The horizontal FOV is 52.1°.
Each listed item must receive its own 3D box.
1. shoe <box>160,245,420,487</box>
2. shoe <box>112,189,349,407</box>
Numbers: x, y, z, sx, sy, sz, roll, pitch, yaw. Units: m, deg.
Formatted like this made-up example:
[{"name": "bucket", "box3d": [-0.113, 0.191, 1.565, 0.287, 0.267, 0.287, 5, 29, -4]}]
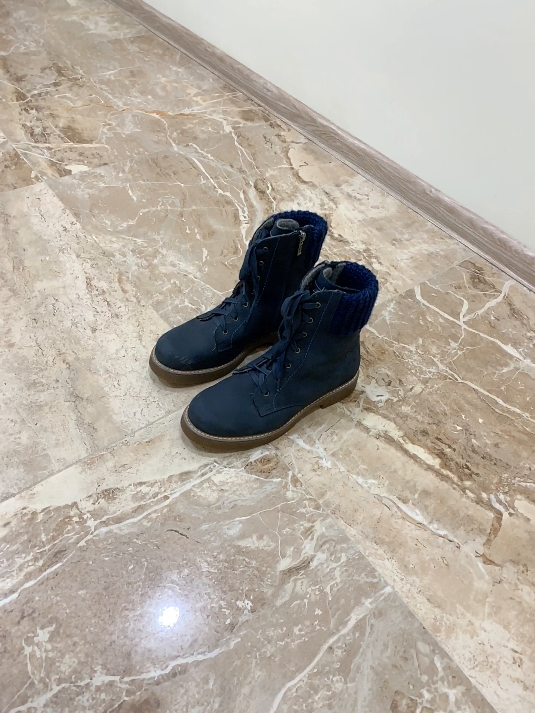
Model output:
[{"name": "shoe", "box3d": [0.020, 0.010, 0.648, 0.260, 0.199, 0.102, -21, 54, -24]}, {"name": "shoe", "box3d": [-0.047, -0.077, 0.716, 0.260, 0.199, 0.102, -21, 54, -24]}]
